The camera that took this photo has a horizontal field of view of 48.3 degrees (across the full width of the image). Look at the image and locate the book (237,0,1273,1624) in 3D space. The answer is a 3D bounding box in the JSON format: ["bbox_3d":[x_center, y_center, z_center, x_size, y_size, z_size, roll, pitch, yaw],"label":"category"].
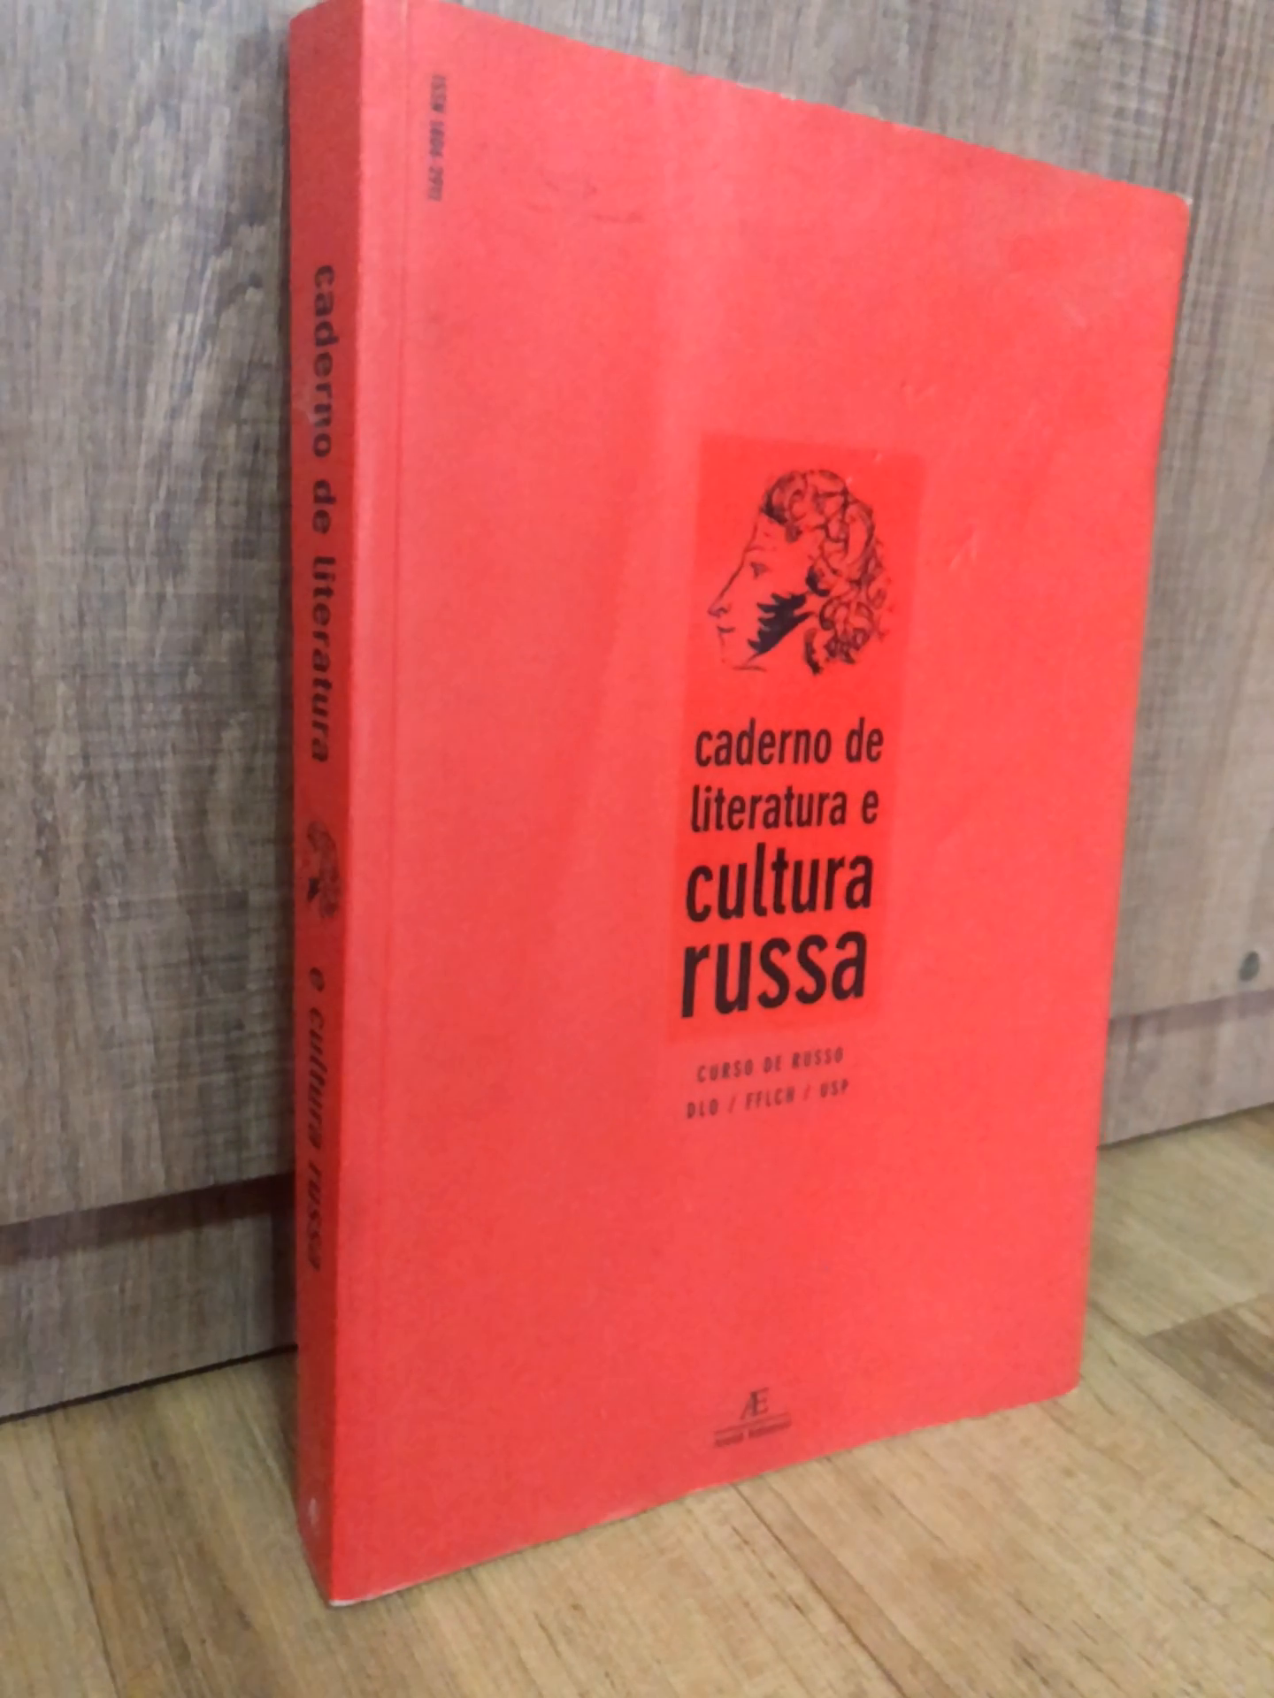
[{"bbox_3d":[0.026,-0.007,0.265,0.187,0.249,0.040,-3,12,-27],"label":"book"}]
